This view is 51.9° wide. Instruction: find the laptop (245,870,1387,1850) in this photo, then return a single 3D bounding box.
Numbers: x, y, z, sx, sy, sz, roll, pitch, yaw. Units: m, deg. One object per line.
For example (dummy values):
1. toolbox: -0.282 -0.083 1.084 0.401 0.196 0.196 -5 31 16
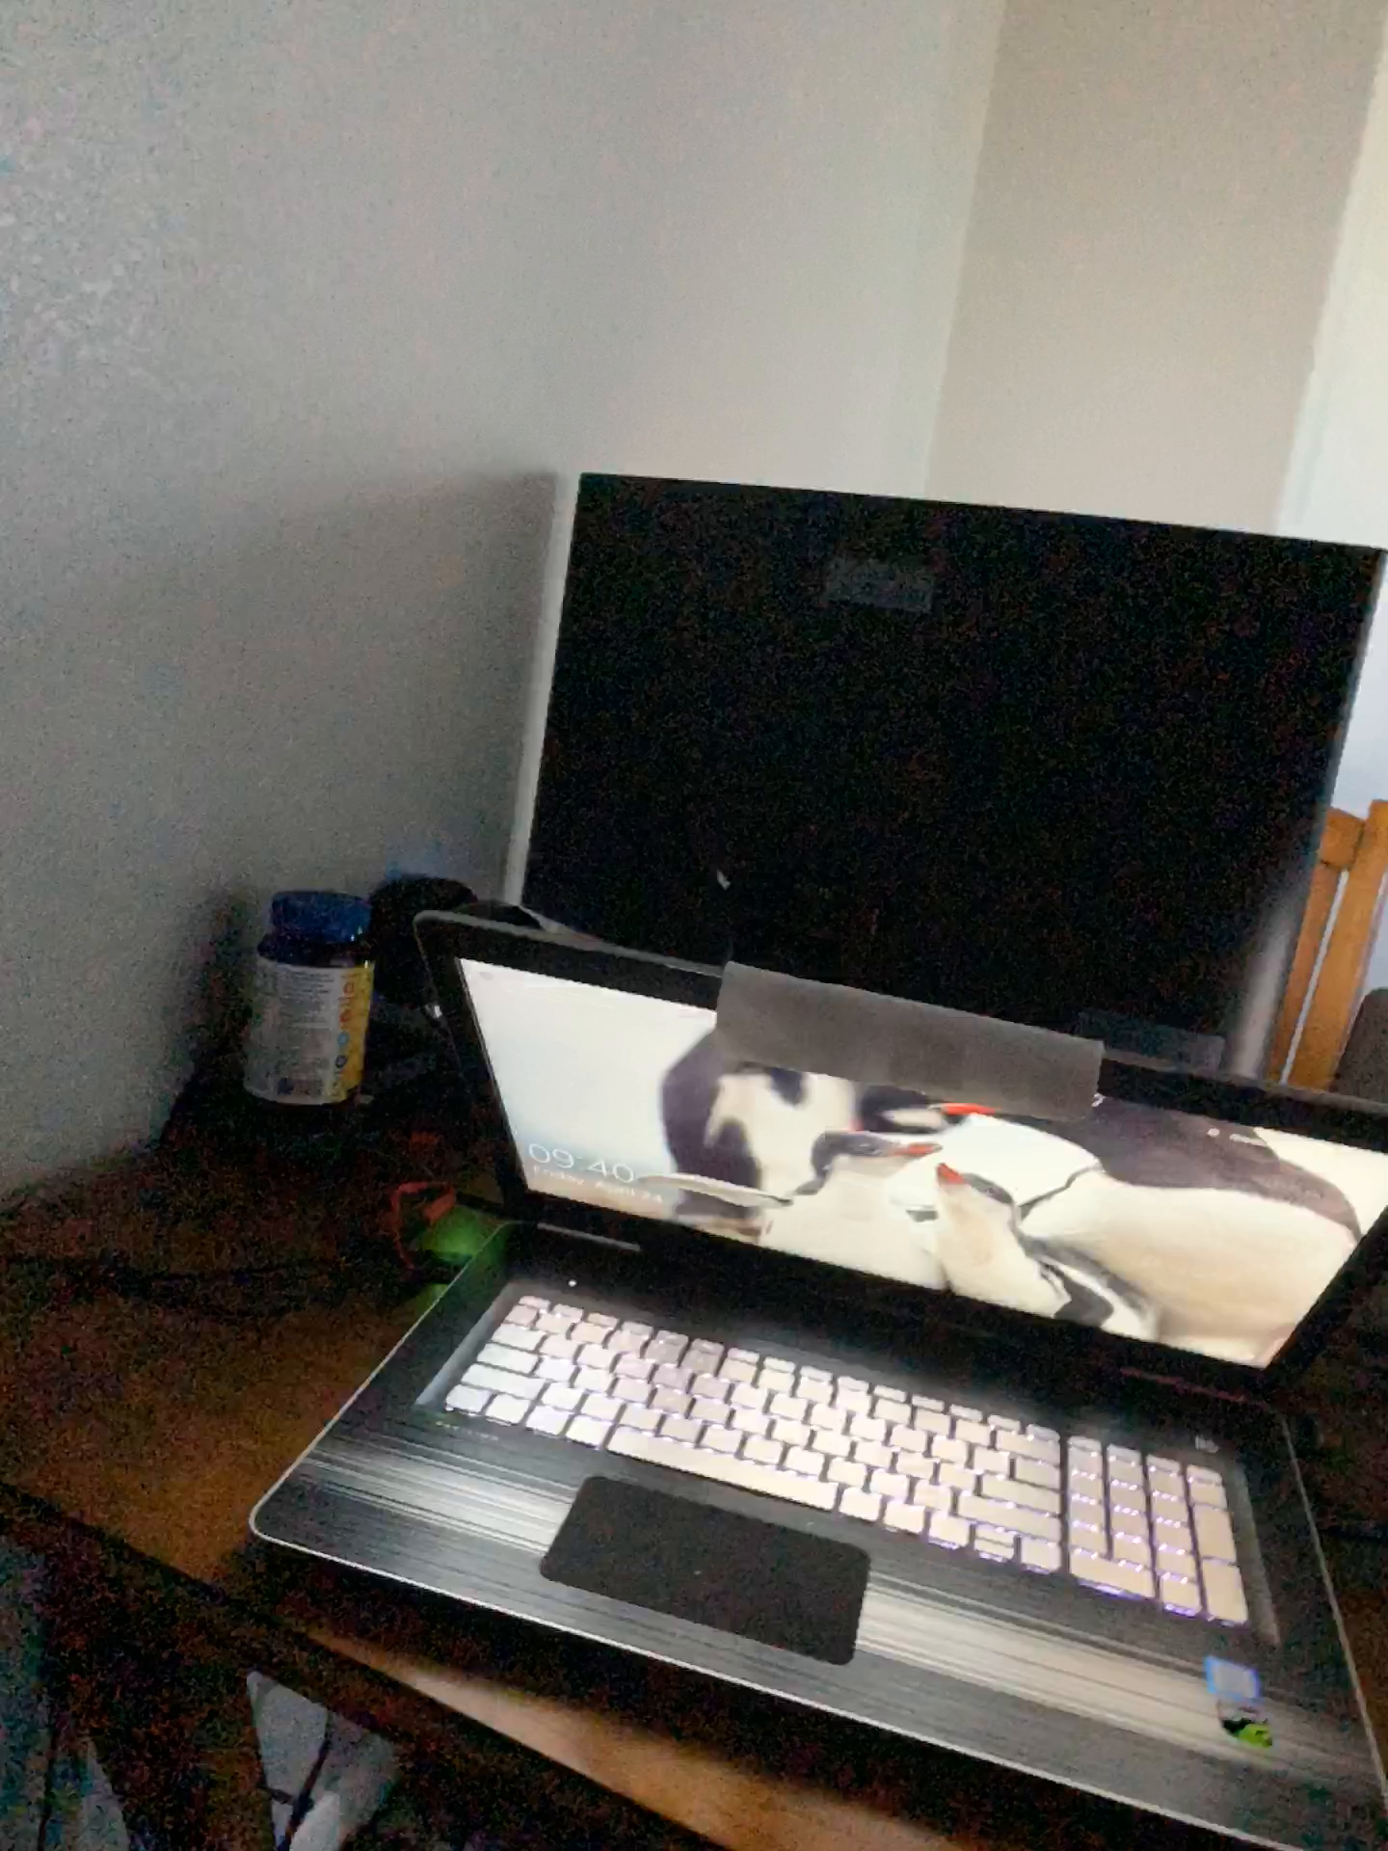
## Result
1. laptop: 0.073 0.131 0.578 0.393 0.187 0.258 11 15 11
